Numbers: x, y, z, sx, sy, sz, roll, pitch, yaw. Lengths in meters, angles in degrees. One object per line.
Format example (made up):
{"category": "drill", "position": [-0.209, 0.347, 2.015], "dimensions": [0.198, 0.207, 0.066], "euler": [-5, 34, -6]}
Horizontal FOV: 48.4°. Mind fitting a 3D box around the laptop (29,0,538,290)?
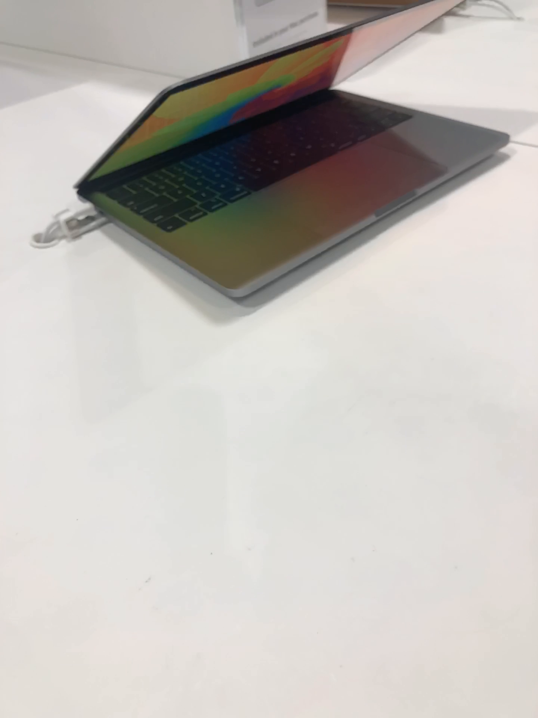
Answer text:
{"category": "laptop", "position": [0.019, -0.201, 0.453], "dimensions": [0.297, 0.109, 0.211], "euler": [-33, 47, -28]}
